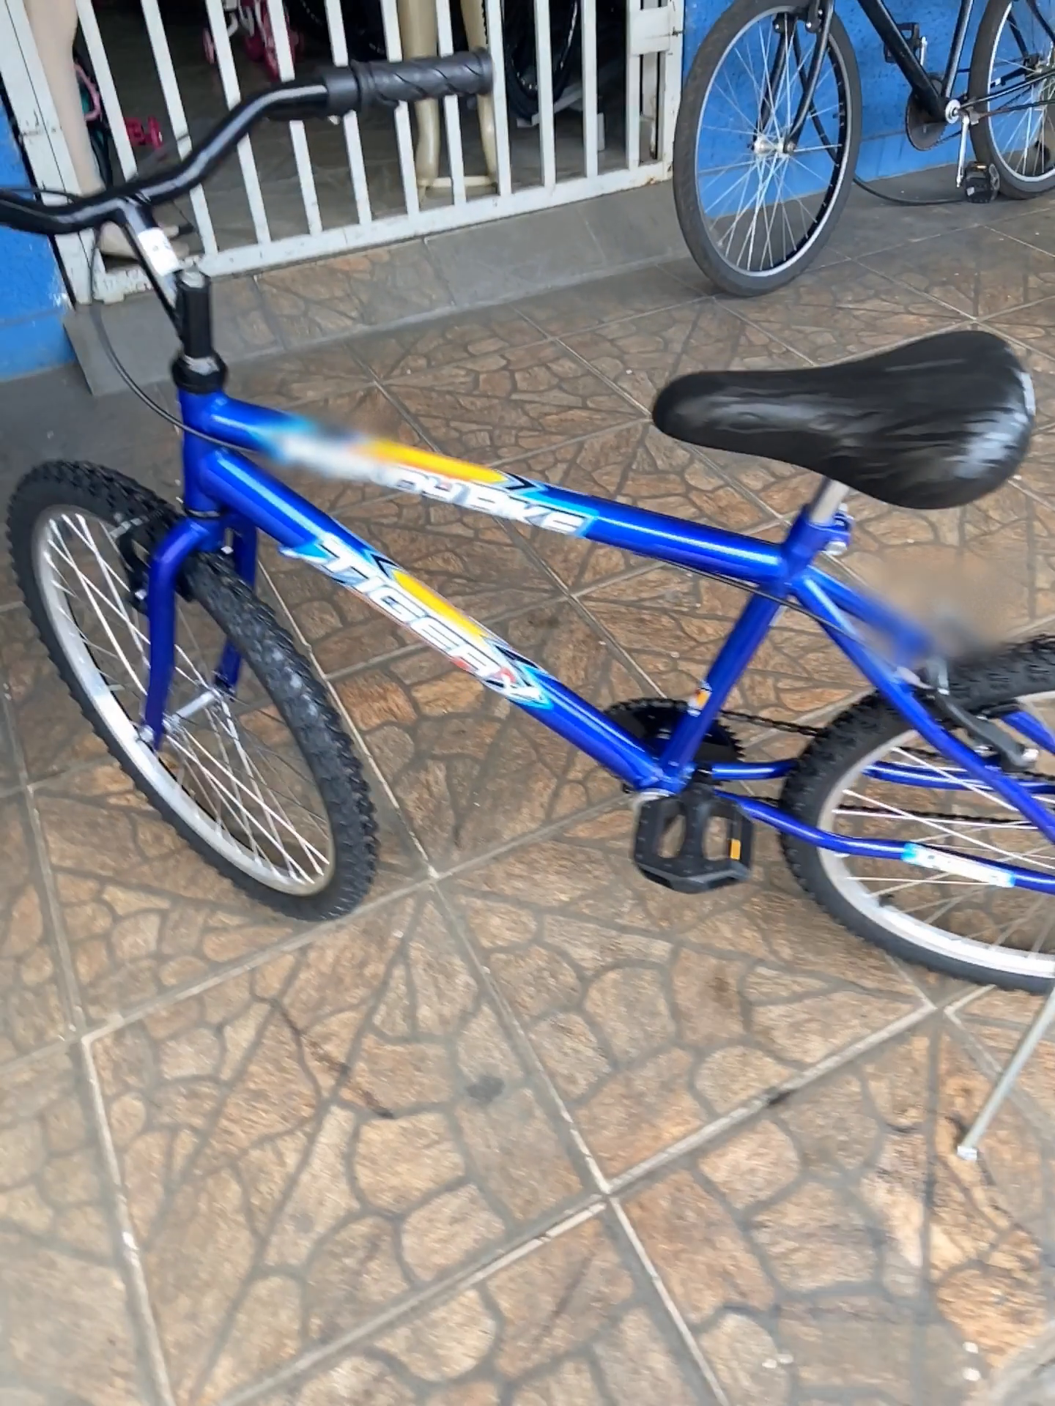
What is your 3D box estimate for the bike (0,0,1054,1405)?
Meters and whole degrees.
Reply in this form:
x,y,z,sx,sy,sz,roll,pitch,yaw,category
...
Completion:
x,y,z,sx,sy,sz,roll,pitch,yaw,category
0.107,-0.097,0.991,1.487,0.923,0.626,10,43,12,bike
